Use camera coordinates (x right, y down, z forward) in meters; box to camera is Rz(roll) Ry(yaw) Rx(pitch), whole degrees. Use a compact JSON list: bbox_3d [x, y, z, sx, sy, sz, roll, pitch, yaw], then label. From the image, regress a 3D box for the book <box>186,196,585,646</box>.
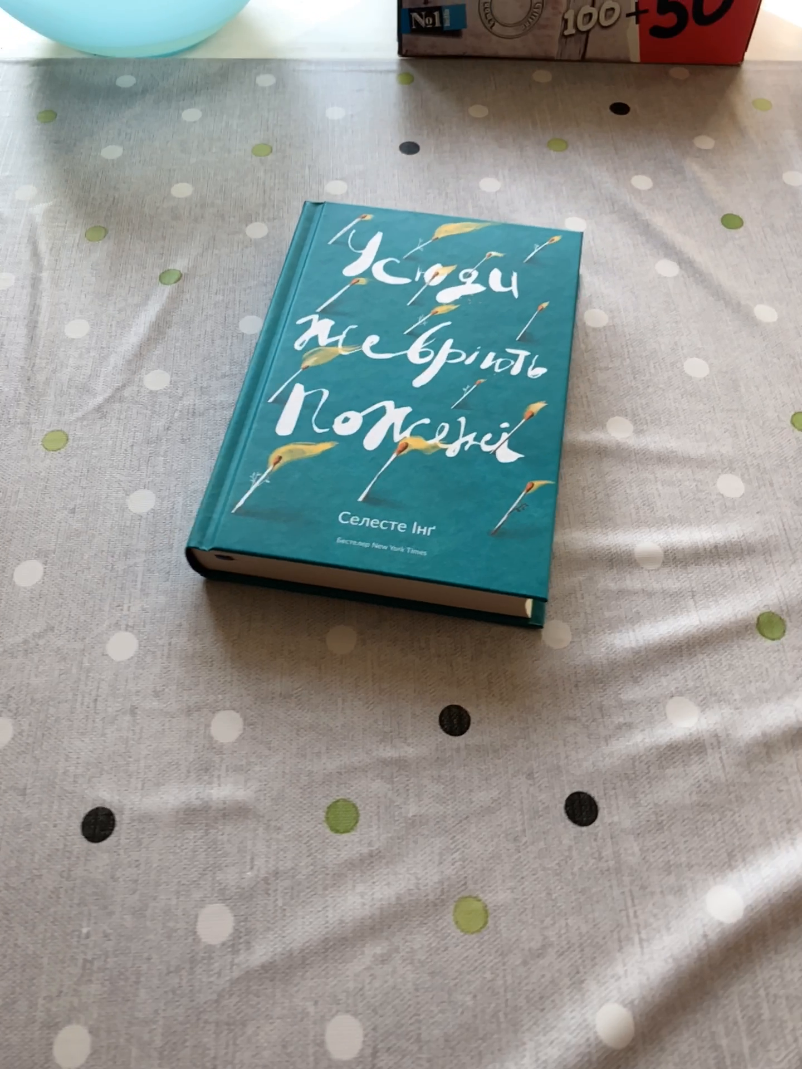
[{"bbox_3d":[0.004,-0.064,0.412,0.143,0.040,0.214,8,58,5],"label":"book"}]
